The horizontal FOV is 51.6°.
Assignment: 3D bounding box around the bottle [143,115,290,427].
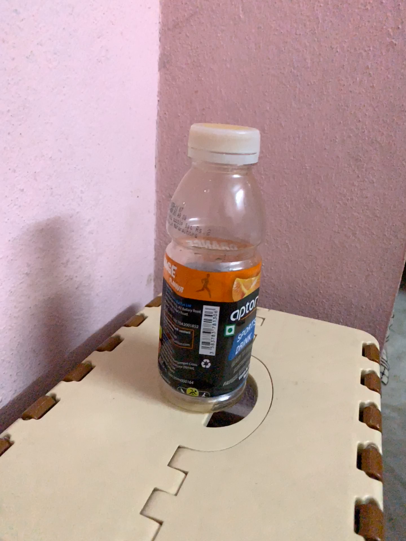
[{"bbox_3d":[0.006,-0.002,0.271,0.060,0.179,0.070,13,24,20],"label":"bottle"}]
